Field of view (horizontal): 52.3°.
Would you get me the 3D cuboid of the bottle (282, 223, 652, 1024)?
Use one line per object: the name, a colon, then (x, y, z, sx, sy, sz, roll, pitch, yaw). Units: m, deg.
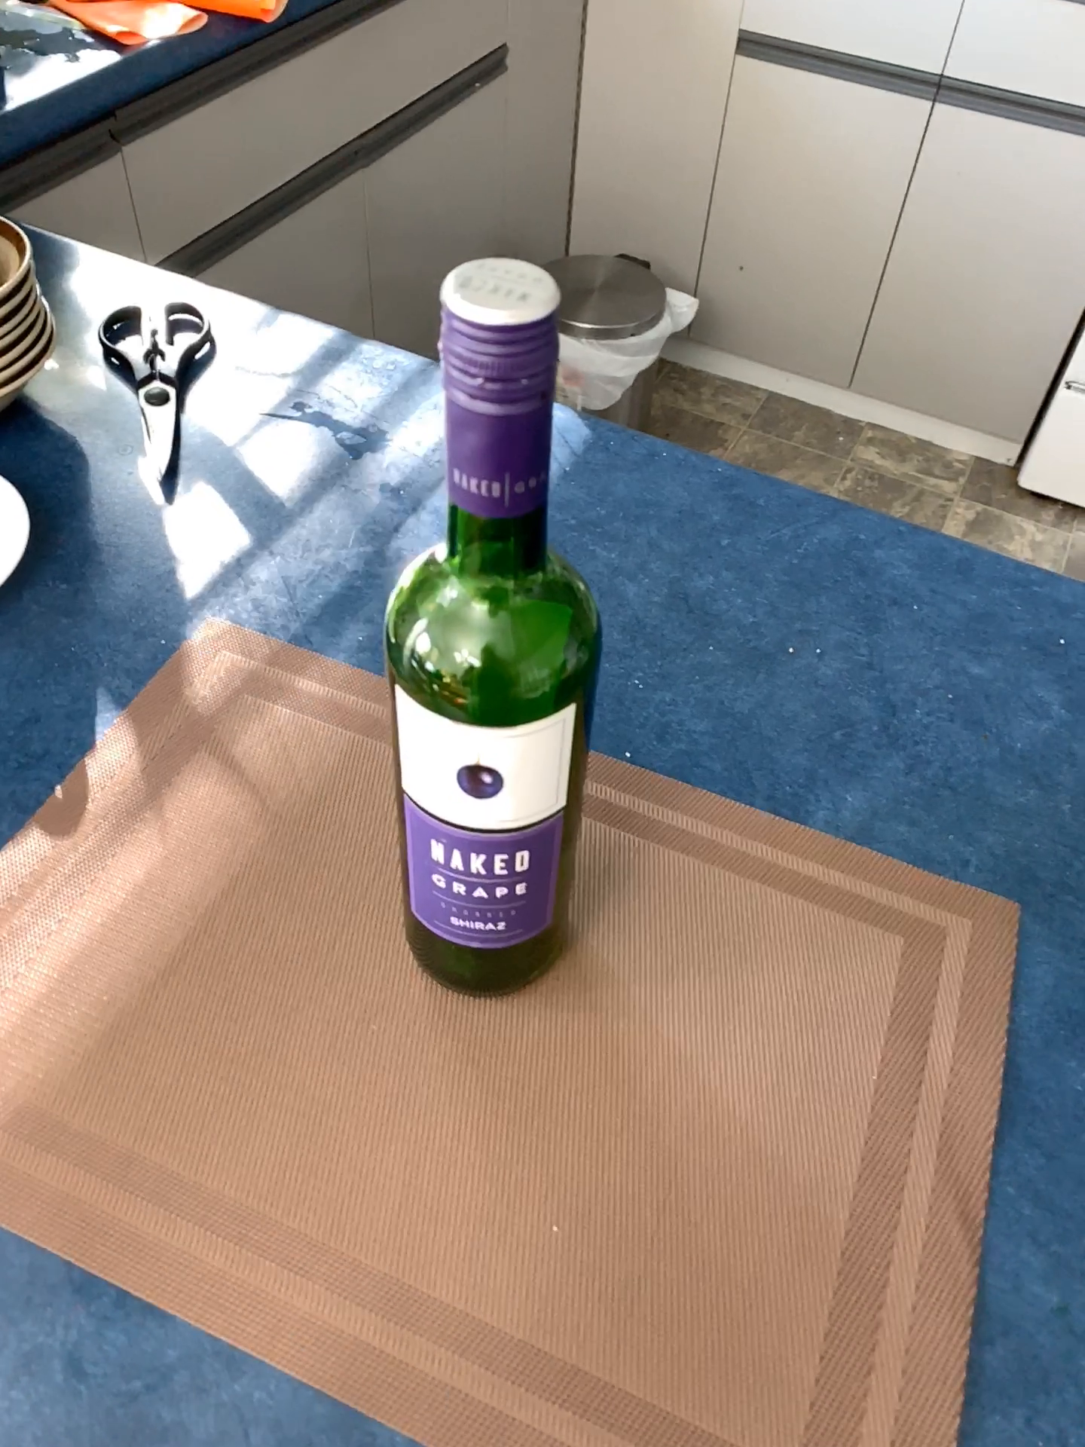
bottle: (-0.021, -0.004, 0.373, 0.080, 0.288, 0.081, 2, 49, -2)
